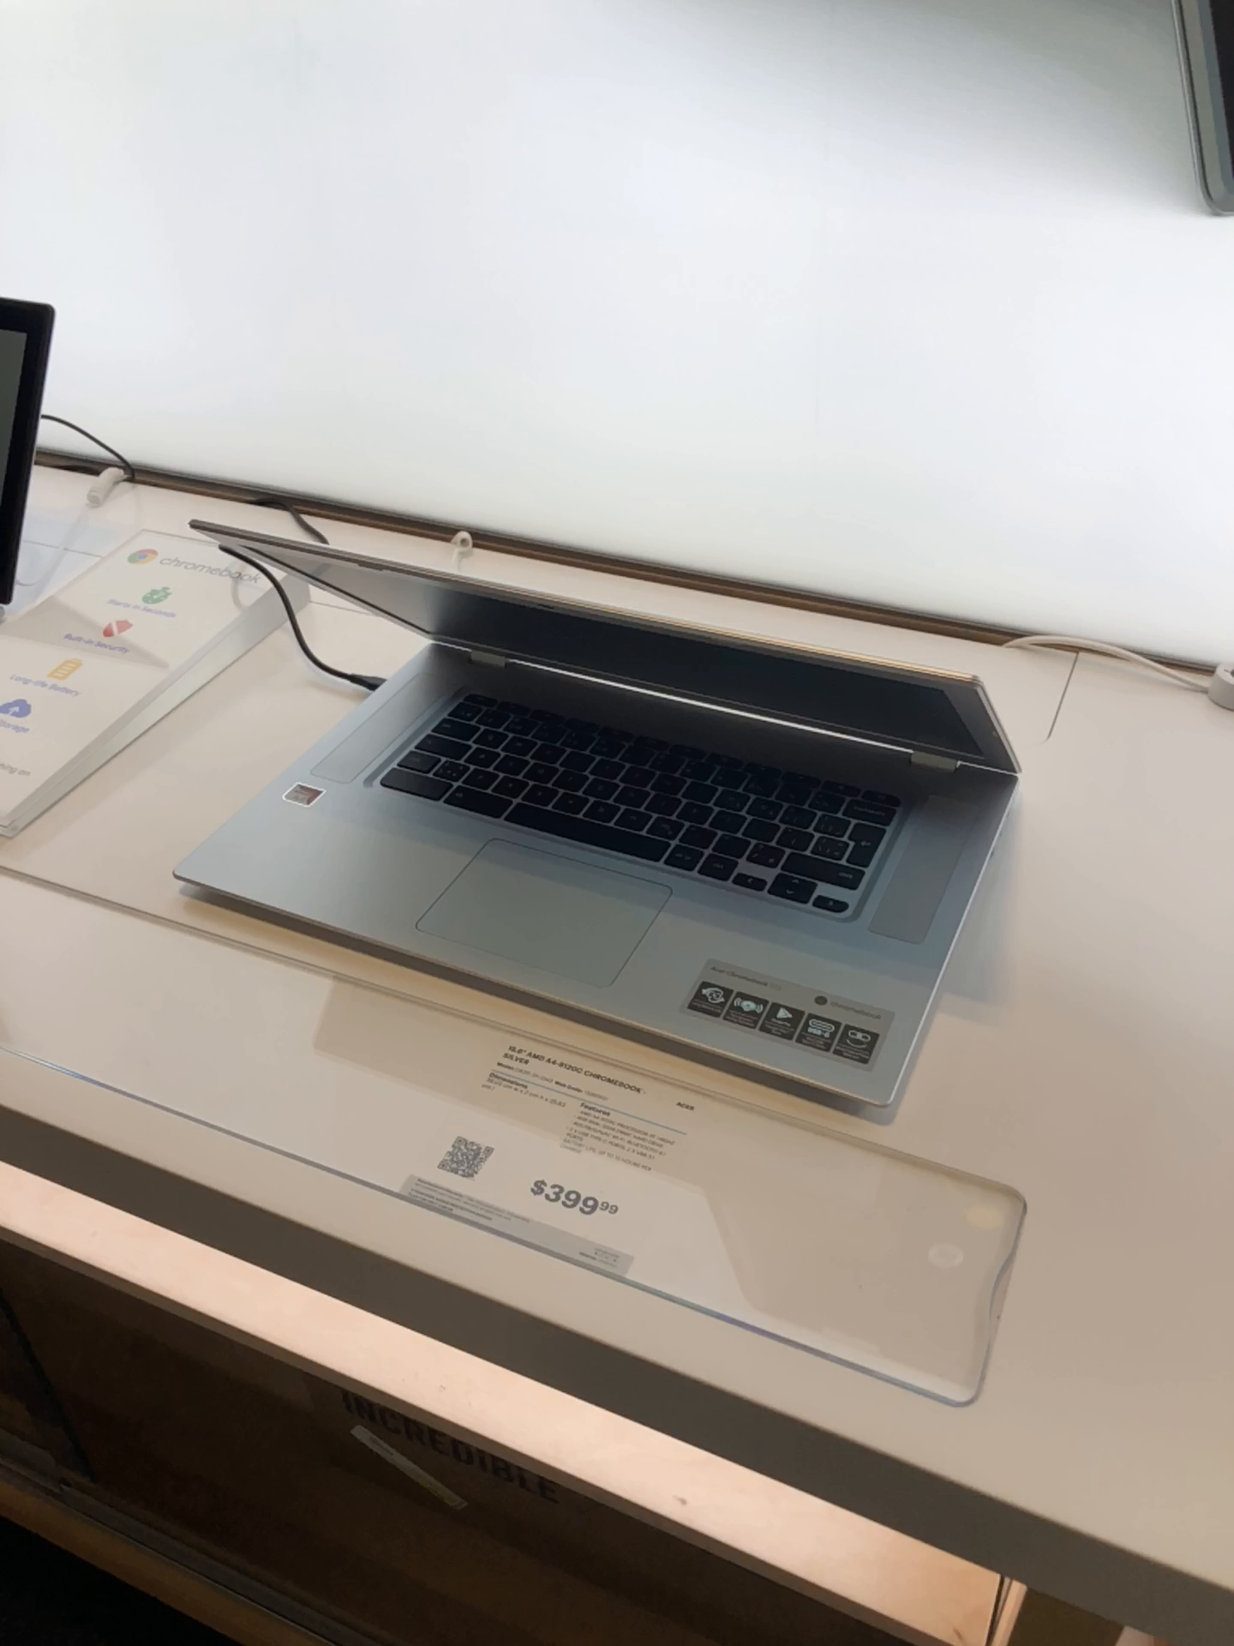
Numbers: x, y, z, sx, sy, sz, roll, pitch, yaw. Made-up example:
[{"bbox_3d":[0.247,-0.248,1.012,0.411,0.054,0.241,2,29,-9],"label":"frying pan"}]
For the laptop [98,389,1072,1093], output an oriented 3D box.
[{"bbox_3d":[-0.004,-0.069,0.665,0.368,0.166,0.255,15,40,21],"label":"laptop"}]
